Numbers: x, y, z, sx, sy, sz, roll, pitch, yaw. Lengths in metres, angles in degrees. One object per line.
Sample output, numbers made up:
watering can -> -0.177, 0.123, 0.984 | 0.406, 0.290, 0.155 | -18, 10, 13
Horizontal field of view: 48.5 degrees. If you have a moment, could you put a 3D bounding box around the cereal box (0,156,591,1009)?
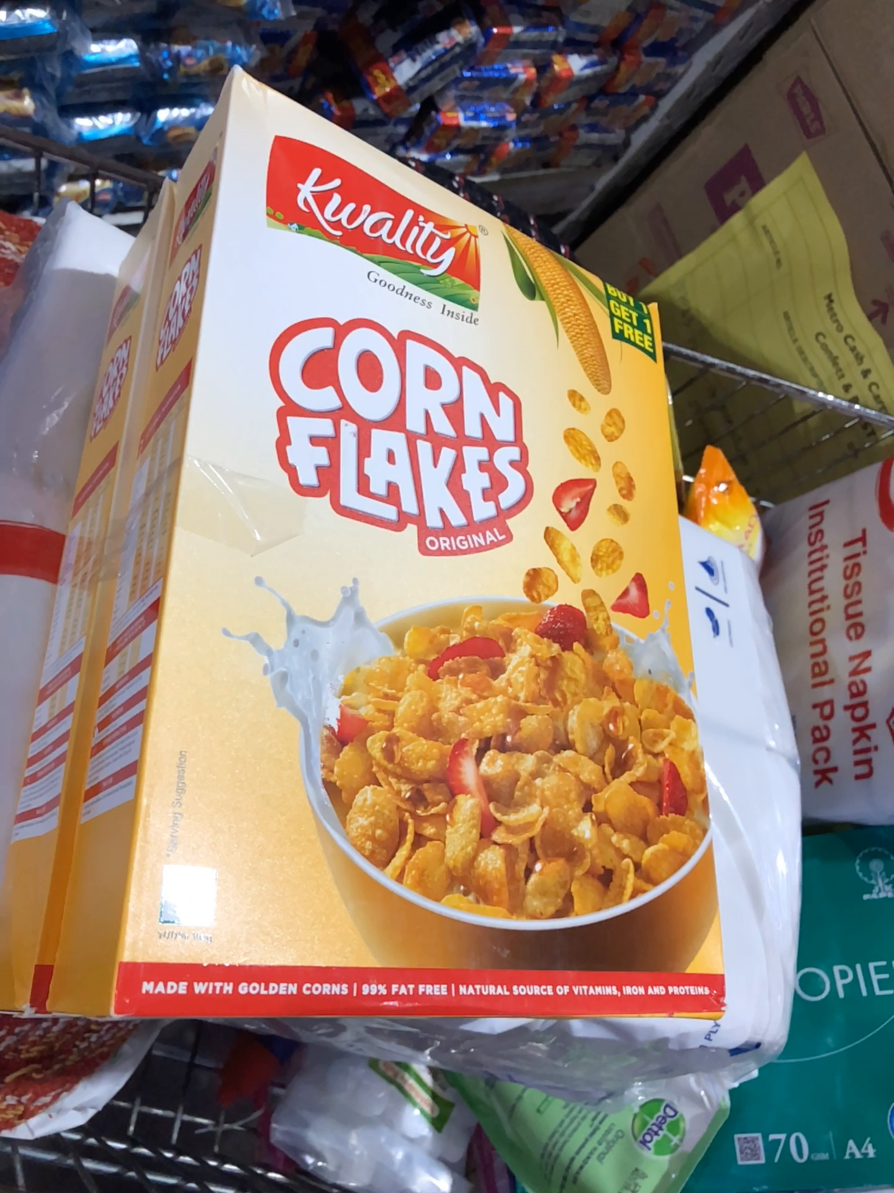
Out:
cereal box -> -0.049, 0.007, 0.364 | 0.200, 0.070, 0.261 | 15, 66, -33

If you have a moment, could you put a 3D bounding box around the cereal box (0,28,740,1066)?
cereal box -> -0.007, -0.007, 0.304 | 0.190, 0.060, 0.261 | 15, 66, -33
